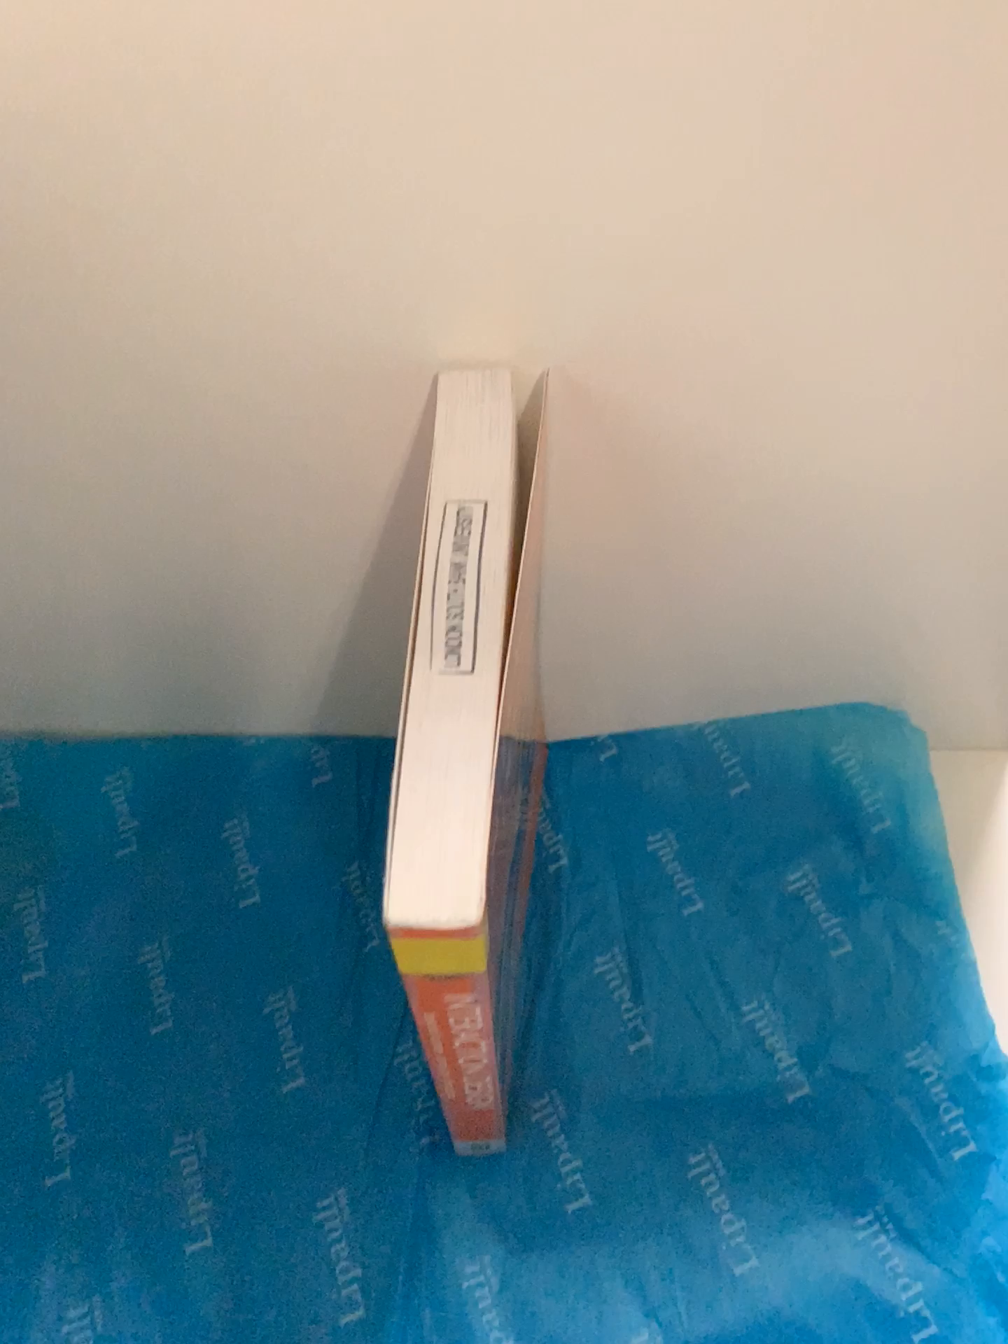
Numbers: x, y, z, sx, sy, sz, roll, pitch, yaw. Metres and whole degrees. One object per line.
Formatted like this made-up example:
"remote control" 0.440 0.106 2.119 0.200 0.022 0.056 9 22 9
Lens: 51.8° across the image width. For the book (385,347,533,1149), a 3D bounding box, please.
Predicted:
"book" -0.005 0.045 0.384 0.030 0.247 0.196 0 54 2
